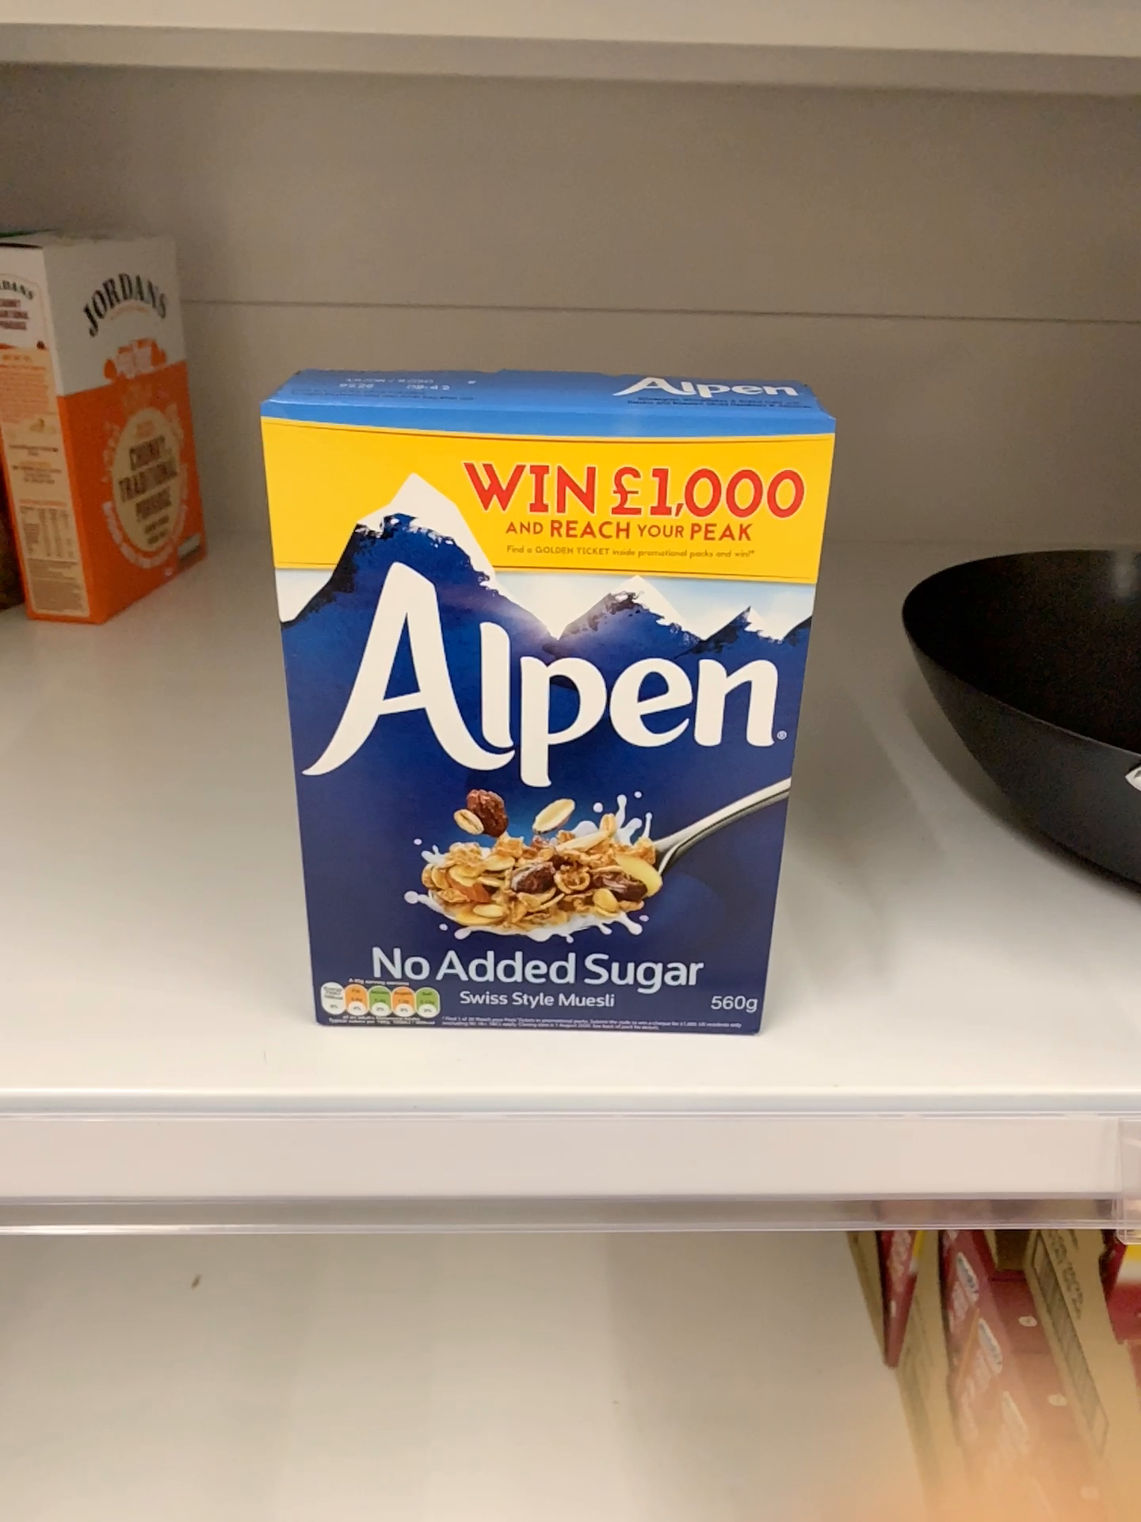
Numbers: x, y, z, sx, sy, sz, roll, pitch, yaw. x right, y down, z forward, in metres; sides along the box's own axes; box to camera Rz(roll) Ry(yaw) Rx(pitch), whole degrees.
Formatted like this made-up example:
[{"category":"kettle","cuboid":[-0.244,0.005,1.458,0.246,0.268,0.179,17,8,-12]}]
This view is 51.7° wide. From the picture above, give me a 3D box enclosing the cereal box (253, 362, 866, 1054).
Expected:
[{"category":"cereal box","cuboid":[-0.006,-0.012,0.424,0.180,0.238,0.061,2,25,0]}]
